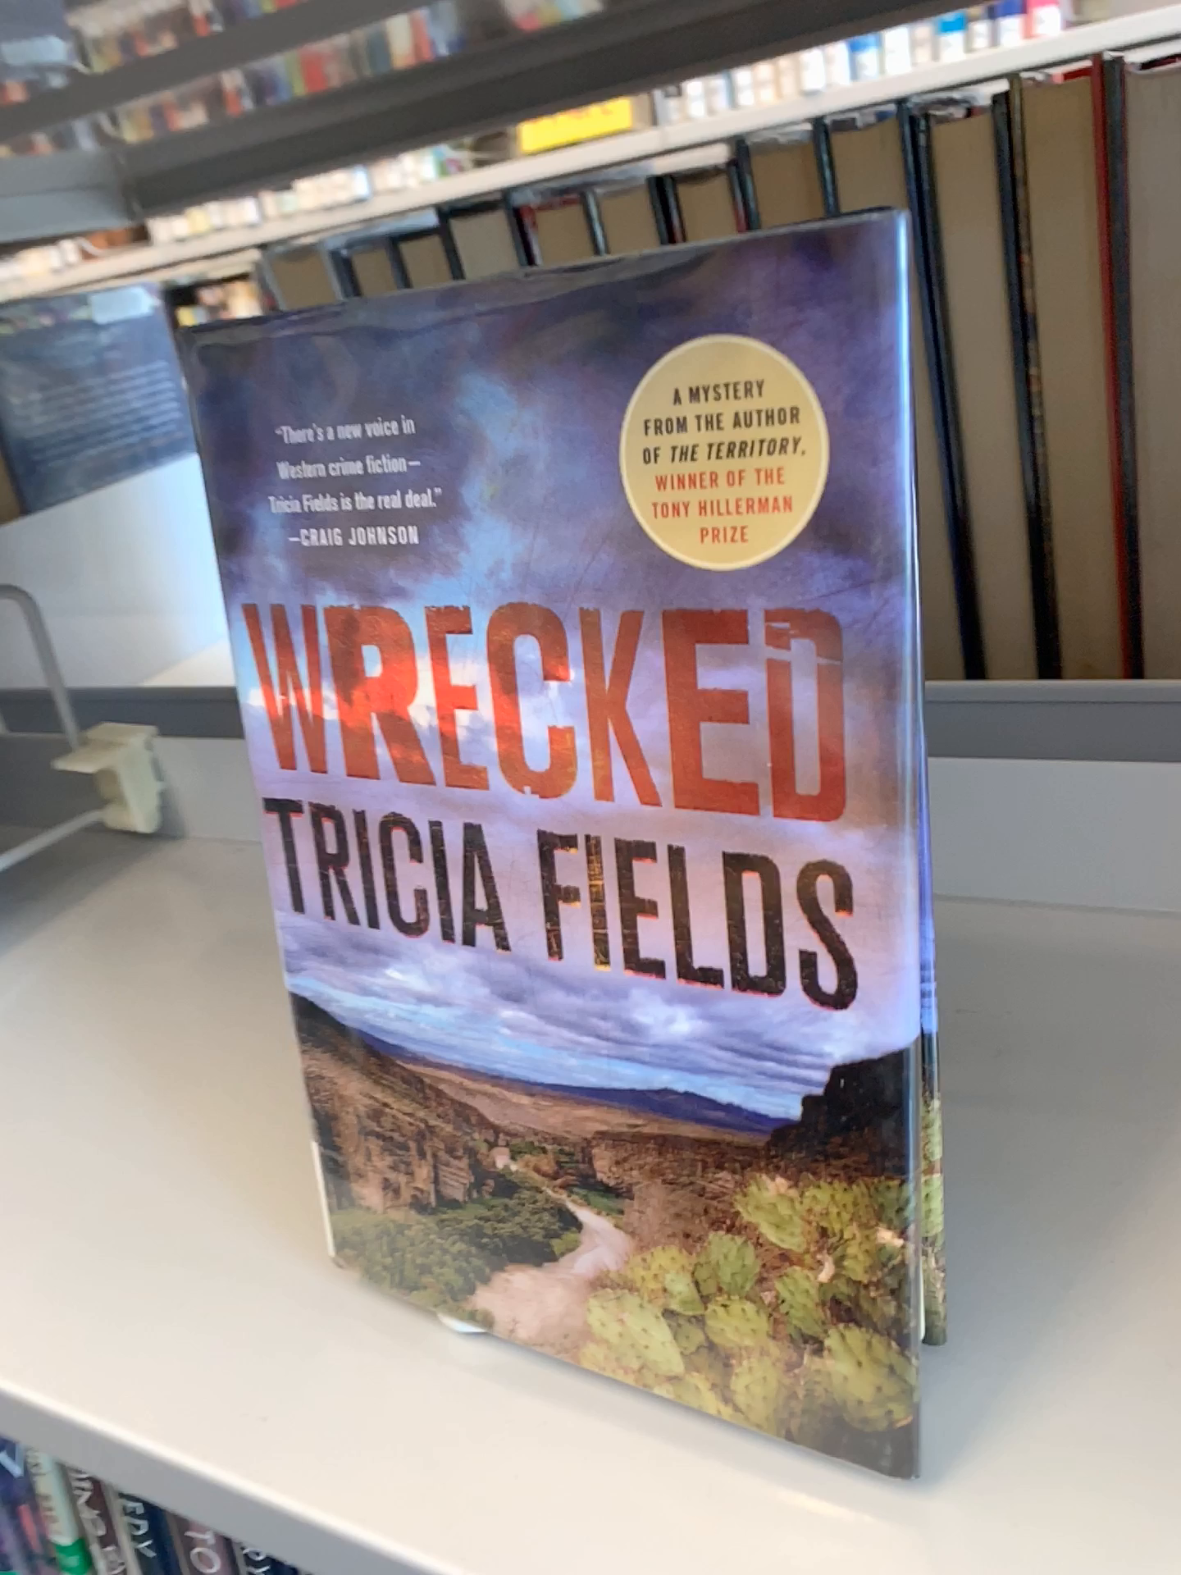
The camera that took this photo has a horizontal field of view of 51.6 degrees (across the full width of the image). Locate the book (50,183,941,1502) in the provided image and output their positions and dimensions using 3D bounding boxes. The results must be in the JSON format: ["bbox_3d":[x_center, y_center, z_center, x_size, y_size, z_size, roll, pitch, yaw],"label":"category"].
[{"bbox_3d":[-0.017,0.012,0.233,0.150,0.203,0.040,4,19,32],"label":"book"}]
